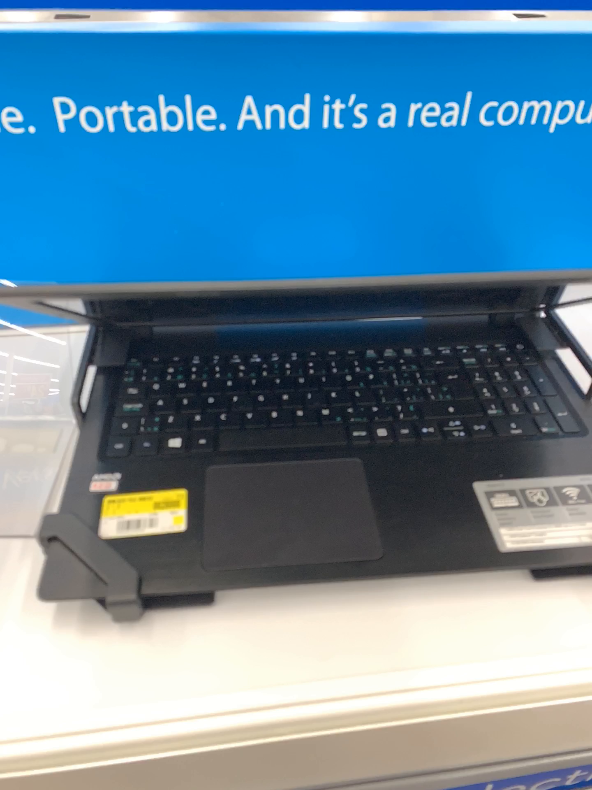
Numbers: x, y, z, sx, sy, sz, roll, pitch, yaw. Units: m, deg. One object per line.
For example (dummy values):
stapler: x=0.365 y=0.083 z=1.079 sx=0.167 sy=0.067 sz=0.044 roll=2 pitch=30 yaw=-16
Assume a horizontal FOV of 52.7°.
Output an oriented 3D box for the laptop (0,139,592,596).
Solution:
laptop: x=0.037 y=-0.036 z=0.372 sx=0.364 sy=0.146 sz=0.234 roll=-3 pitch=43 yaw=-5
